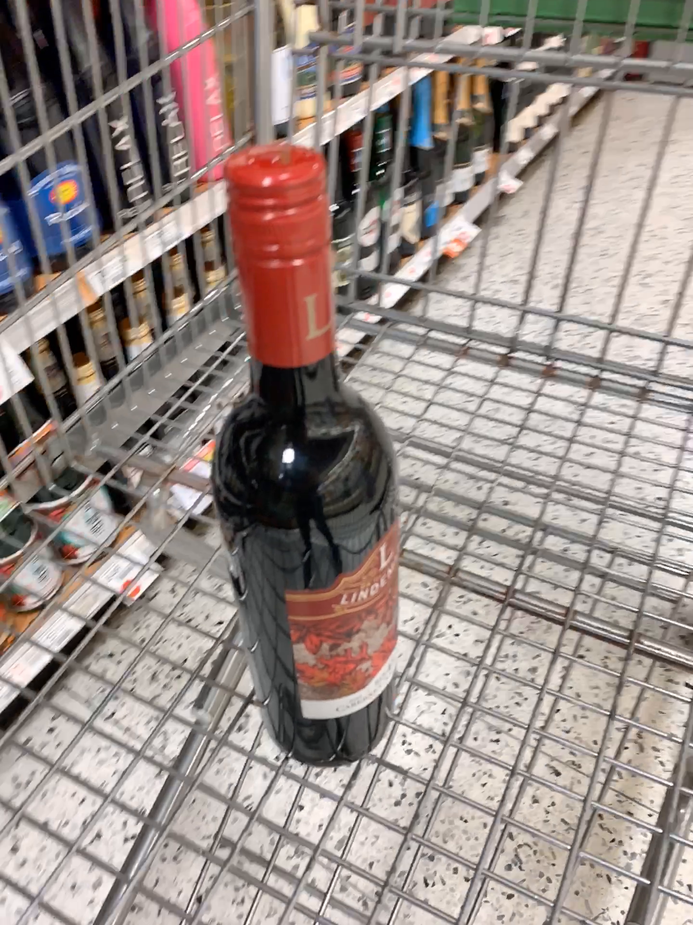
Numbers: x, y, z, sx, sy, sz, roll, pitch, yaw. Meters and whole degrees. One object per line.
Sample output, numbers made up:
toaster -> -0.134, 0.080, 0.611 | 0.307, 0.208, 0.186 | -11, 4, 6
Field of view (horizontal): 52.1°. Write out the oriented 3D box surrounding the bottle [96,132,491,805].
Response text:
bottle -> -0.010, 0.028, 0.307 | 0.080, 0.287, 0.091 | 21, 47, 22
